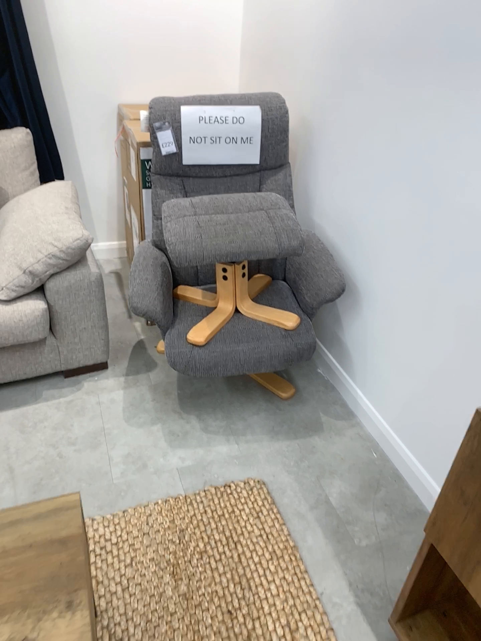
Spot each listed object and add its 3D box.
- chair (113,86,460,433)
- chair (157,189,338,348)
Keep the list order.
[{"bbox_3d":[0.035,-0.268,1.746,0.866,0.897,0.792,-5,33,-13],"label":"chair"},{"bbox_3d":[-0.011,-0.203,1.689,0.496,0.352,0.449,-5,34,-13],"label":"chair"}]
